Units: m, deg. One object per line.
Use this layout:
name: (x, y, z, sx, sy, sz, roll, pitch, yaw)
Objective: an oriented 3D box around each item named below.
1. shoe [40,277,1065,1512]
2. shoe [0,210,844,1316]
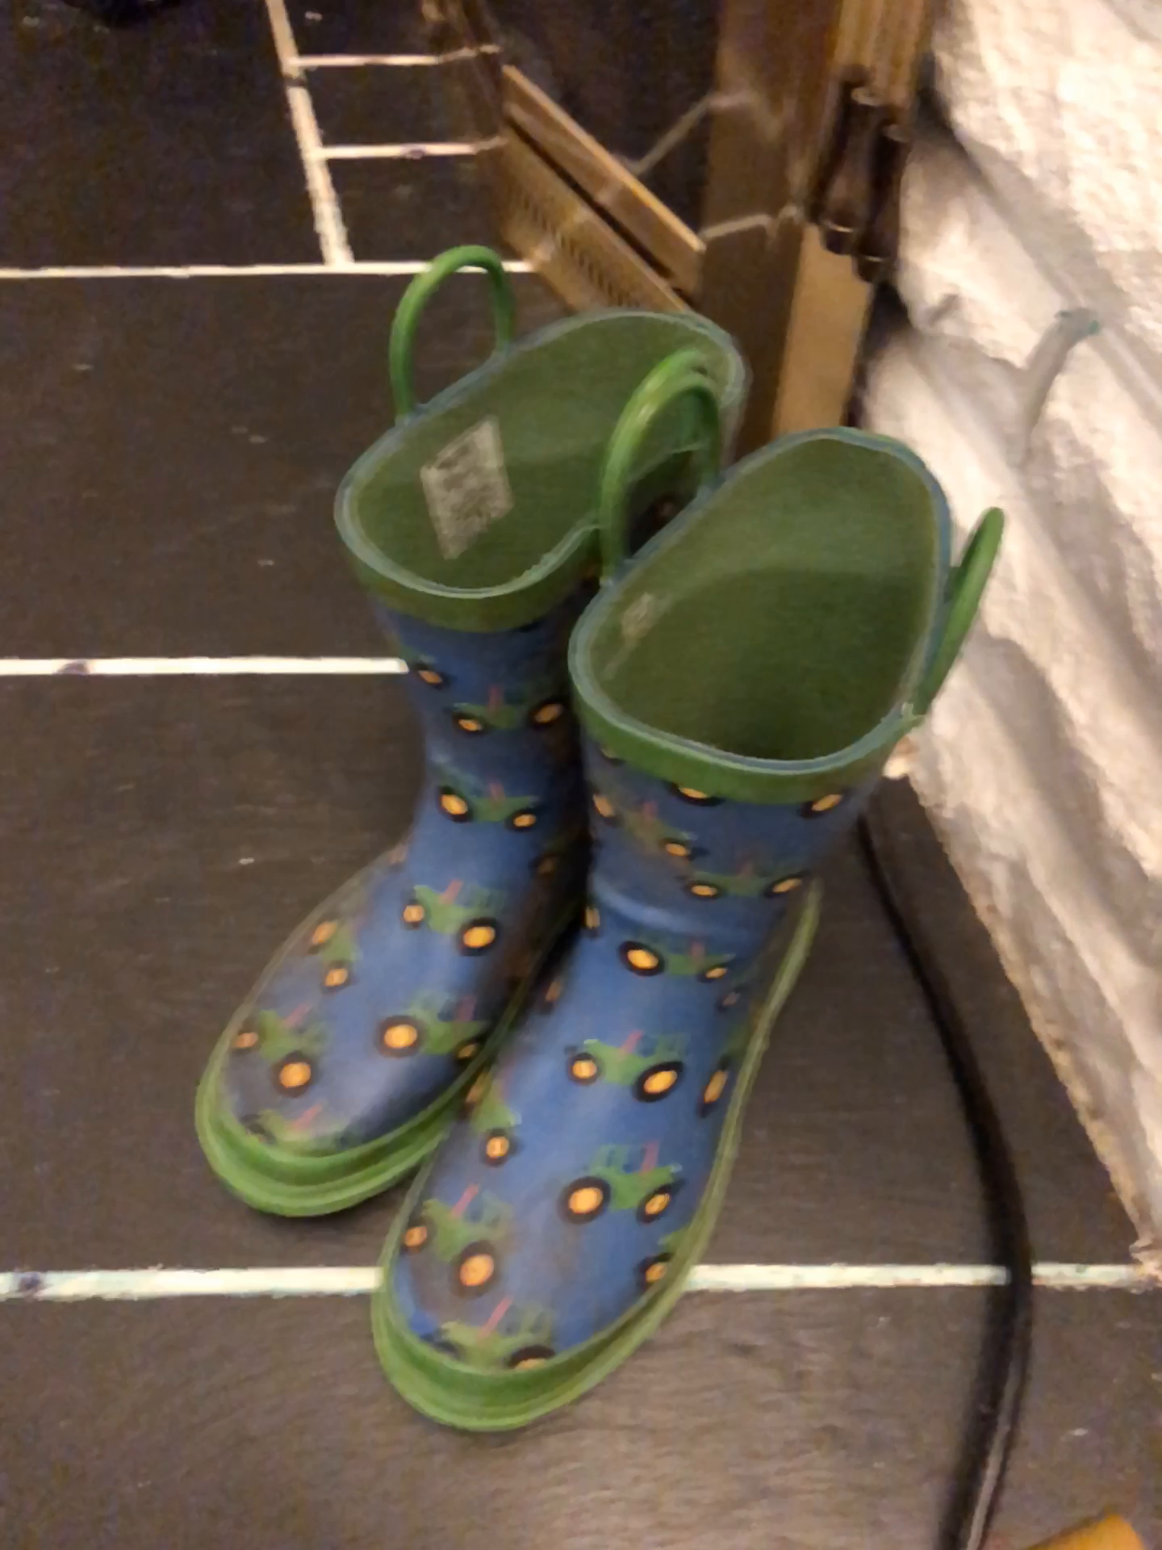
shoe: (0.012, 0.043, 0.352, 0.100, 0.229, 0.241, 25, 59, 15)
shoe: (-0.048, 0.009, 0.386, 0.100, 0.239, 0.230, 35, 62, 21)
